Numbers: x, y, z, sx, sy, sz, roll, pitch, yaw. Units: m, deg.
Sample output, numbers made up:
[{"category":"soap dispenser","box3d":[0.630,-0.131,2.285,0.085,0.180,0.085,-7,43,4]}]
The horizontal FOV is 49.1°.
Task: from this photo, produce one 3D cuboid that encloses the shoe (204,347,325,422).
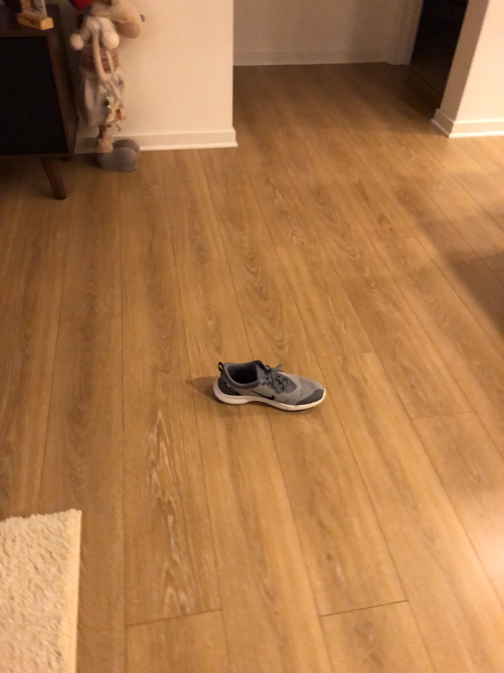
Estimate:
[{"category":"shoe","box3d":[0.036,0.125,1.448,0.300,0.089,0.141,6,42,3]}]
